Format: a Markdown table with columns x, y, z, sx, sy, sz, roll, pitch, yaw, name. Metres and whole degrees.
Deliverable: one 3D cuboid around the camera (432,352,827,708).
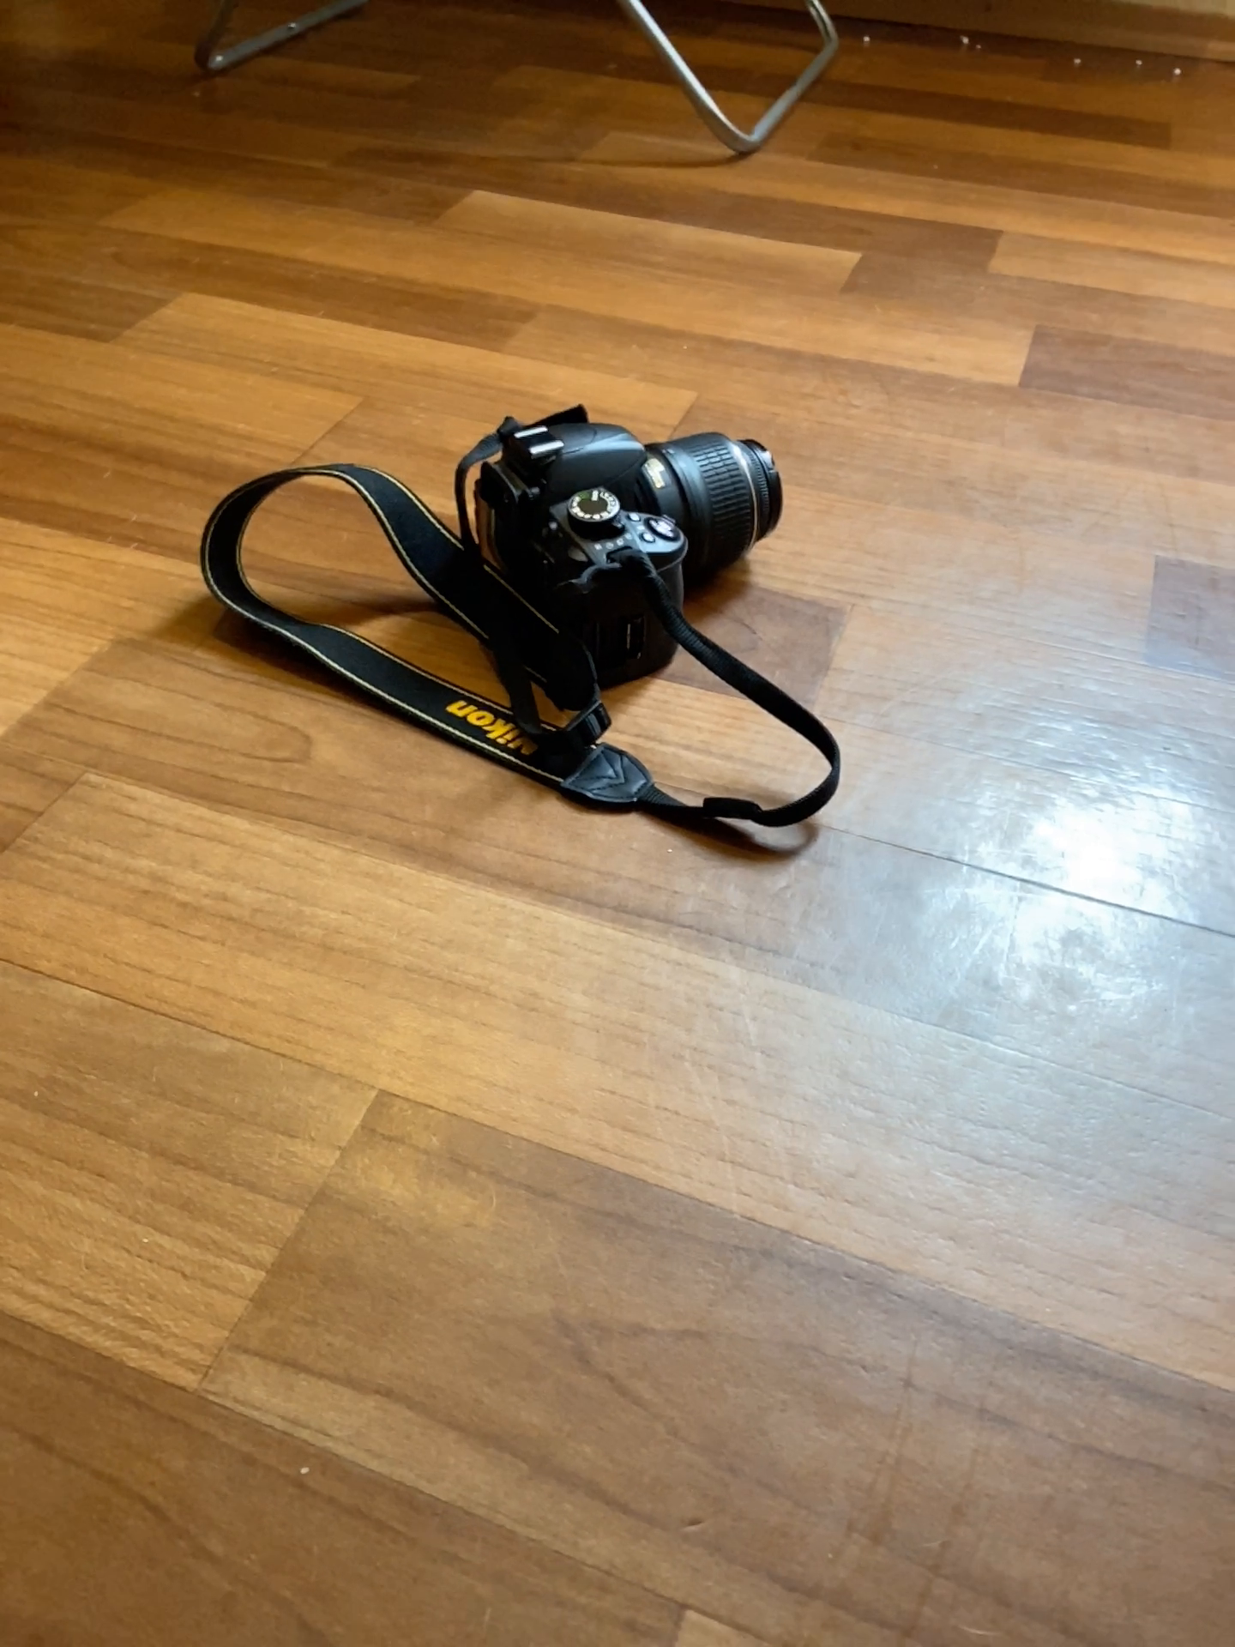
| x | y | z | sx | sy | sz | roll | pitch | yaw | name |
| --- | --- | --- | --- | --- | --- | --- | --- | --- | --- |
| 0.004 | -0.156 | 0.651 | 0.153 | 0.100 | 0.120 | -22 | 49 | -23 | camera |
